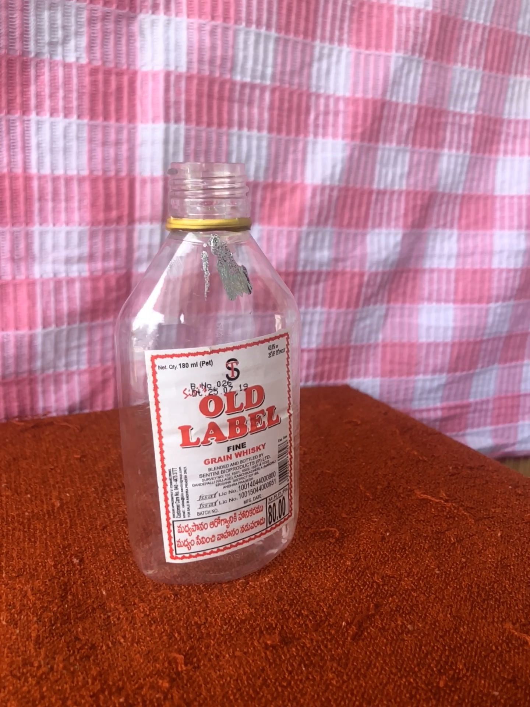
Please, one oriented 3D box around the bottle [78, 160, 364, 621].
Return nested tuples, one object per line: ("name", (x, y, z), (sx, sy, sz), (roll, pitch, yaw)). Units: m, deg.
("bottle", (-0.017, 0.007, 0.193), (0.070, 0.129, 0.050), (-6, 20, -24))
